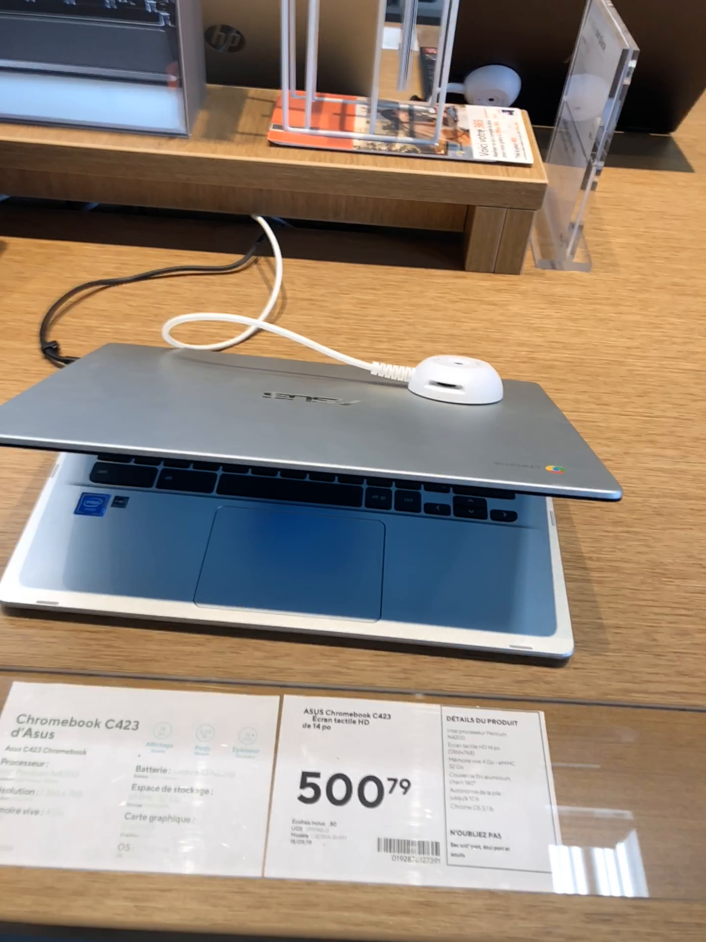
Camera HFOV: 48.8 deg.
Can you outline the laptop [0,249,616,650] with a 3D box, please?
[{"bbox_3d":[-0.021,-0.022,0.462,0.304,0.080,0.206,6,48,-2],"label":"laptop"}]
